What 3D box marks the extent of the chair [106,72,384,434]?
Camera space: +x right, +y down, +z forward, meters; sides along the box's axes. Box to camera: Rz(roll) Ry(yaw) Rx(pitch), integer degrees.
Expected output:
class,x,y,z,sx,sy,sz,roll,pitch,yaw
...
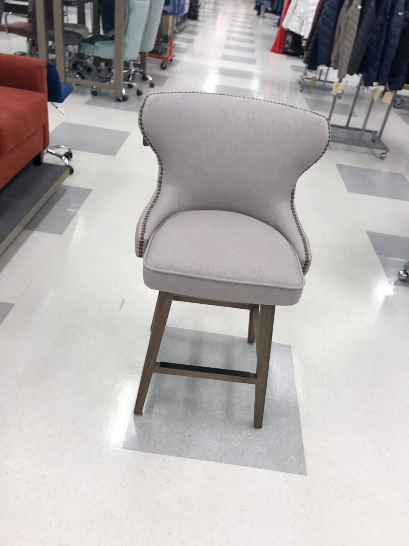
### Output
class,x,y,z,sx,sy,sz,roll,pitch,yaw
chair,0.040,-0.028,1.458,0.608,0.998,0.480,7,34,-3

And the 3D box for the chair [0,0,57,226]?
class,x,y,z,sx,sy,sz,roll,pitch,yaw
chair,-1.469,-0.971,2.376,0.996,0.969,0.915,10,34,1
